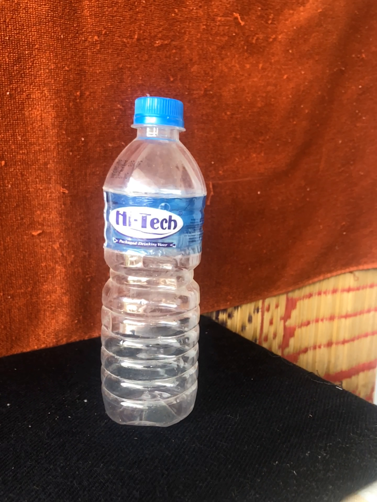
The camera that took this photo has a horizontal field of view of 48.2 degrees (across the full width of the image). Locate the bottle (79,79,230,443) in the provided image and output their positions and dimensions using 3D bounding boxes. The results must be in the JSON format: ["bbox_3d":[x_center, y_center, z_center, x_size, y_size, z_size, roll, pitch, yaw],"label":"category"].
[{"bbox_3d":[-0.018,0.005,0.253,0.070,0.189,0.070,3,12,-1],"label":"bottle"}]
